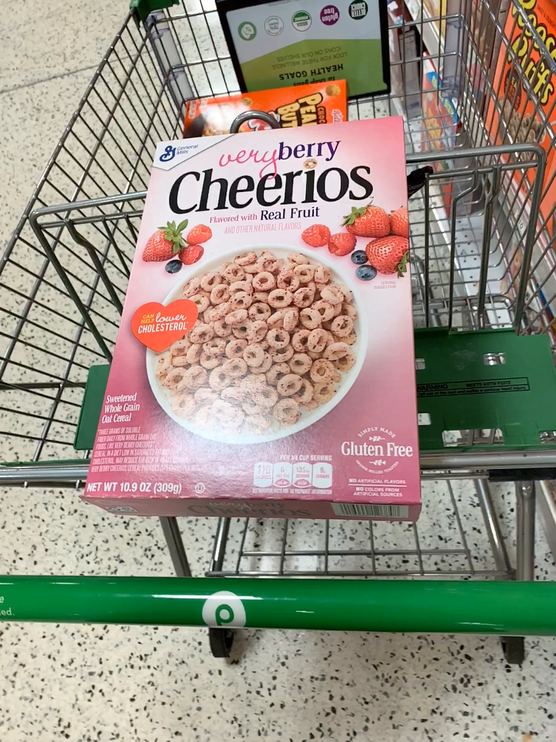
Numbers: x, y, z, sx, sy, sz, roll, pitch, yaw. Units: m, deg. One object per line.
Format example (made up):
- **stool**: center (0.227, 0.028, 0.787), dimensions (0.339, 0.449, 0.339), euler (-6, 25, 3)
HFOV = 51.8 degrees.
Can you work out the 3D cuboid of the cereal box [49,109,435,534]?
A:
- **cereal box**: center (-0.011, -0.042, 0.389), dimensions (0.210, 0.060, 0.282), euler (-2, 64, 12)
